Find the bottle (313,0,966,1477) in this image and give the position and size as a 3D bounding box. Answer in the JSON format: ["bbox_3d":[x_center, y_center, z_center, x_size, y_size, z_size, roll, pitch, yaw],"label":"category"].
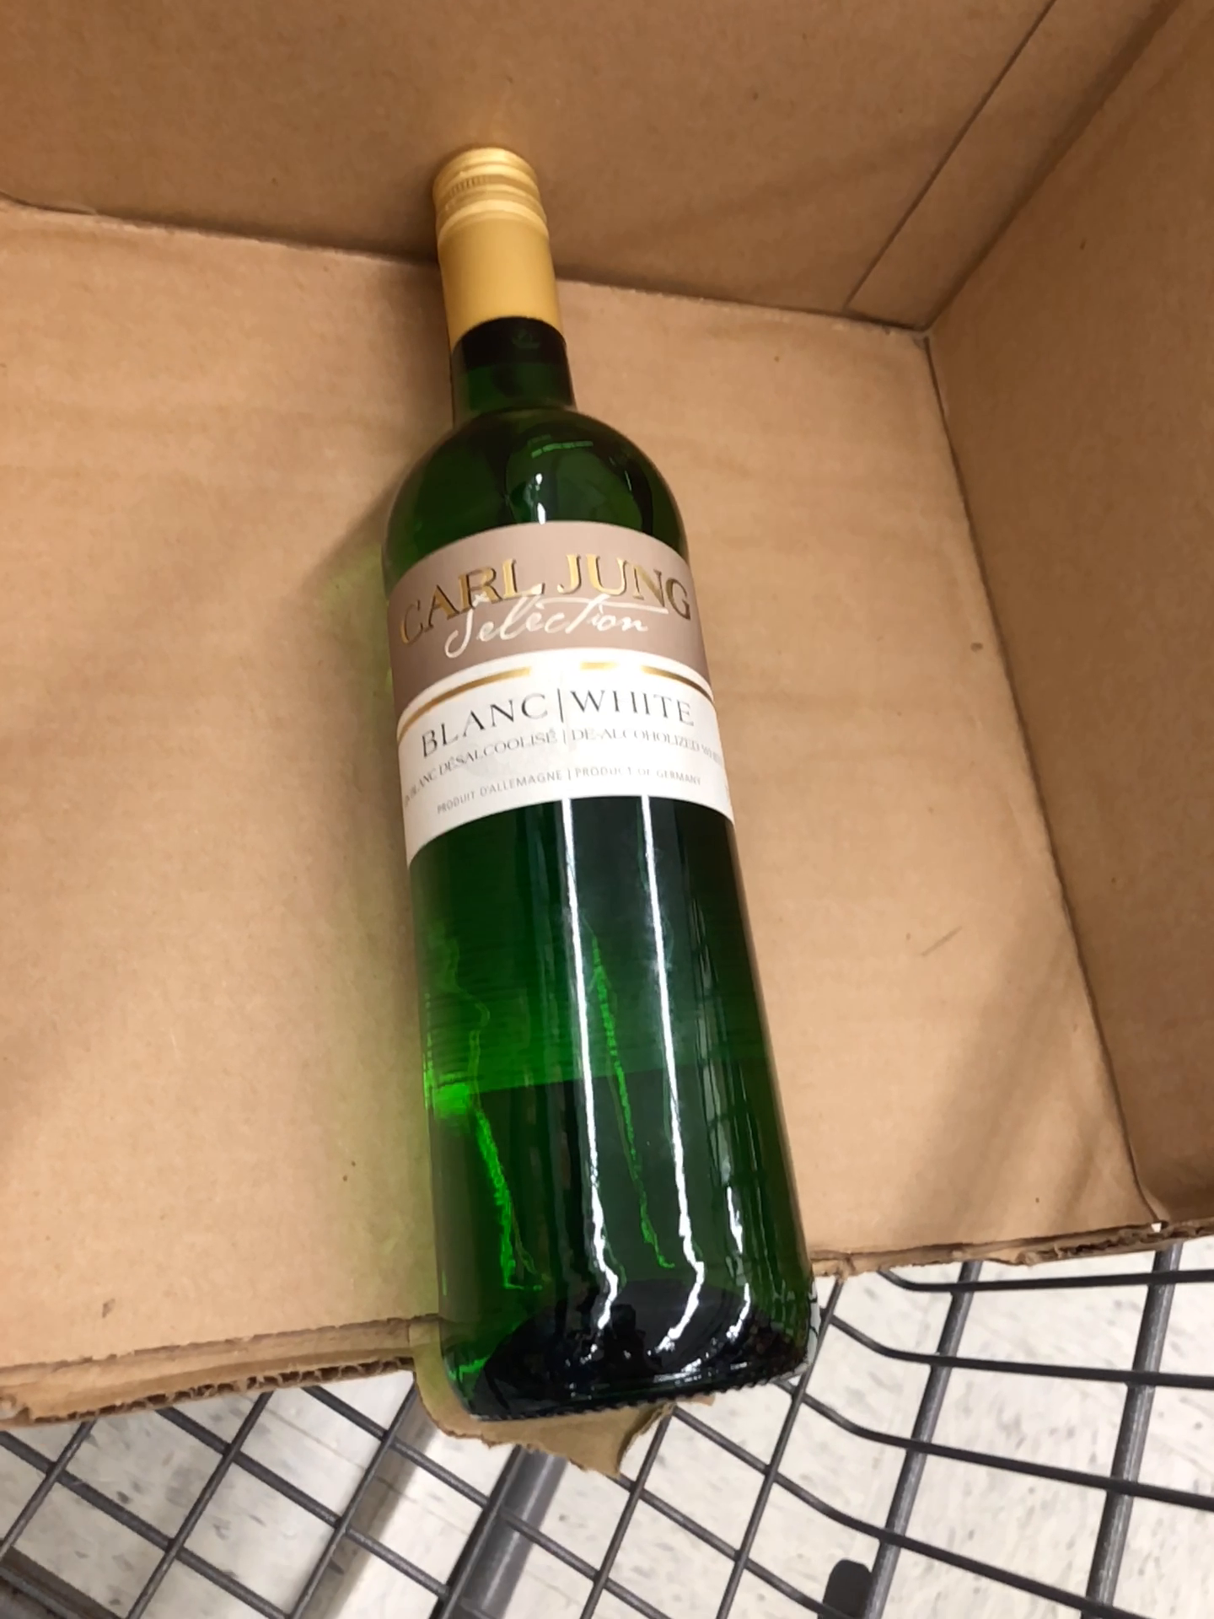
[{"bbox_3d":[-0.013,-0.046,0.298,0.080,0.100,0.331,-4,70,-11],"label":"bottle"}]
